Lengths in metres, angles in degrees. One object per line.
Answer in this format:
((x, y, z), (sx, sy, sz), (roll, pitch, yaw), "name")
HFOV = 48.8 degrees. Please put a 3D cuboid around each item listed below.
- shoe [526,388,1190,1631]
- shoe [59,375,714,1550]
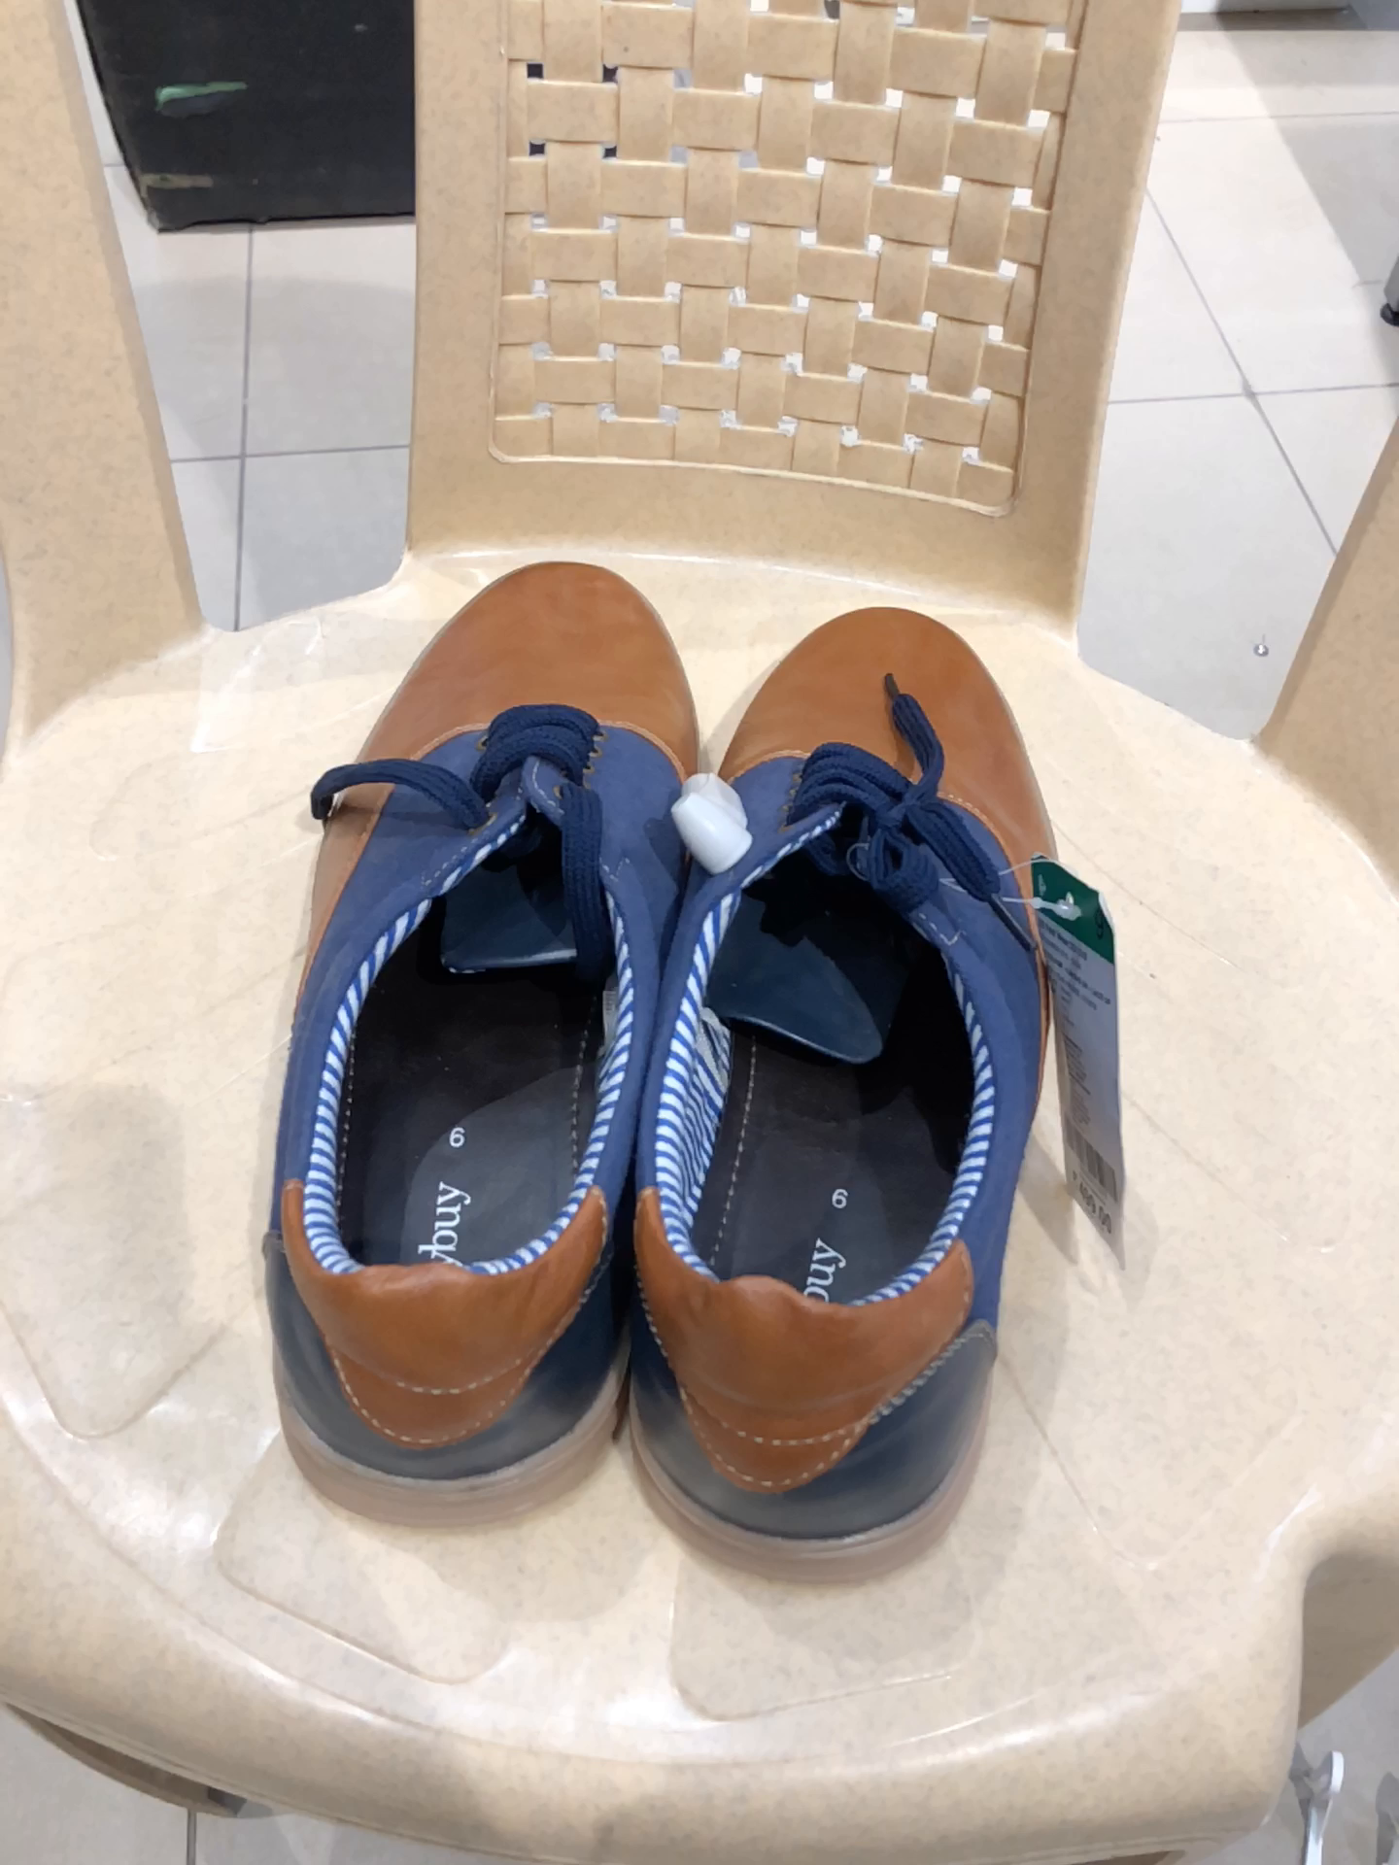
((0.039, 0.009, 0.358), (0.103, 0.120, 0.252), (8, 56, 3), "shoe")
((-0.051, -0.001, 0.363), (0.103, 0.112, 0.255), (1, 56, -1), "shoe")
